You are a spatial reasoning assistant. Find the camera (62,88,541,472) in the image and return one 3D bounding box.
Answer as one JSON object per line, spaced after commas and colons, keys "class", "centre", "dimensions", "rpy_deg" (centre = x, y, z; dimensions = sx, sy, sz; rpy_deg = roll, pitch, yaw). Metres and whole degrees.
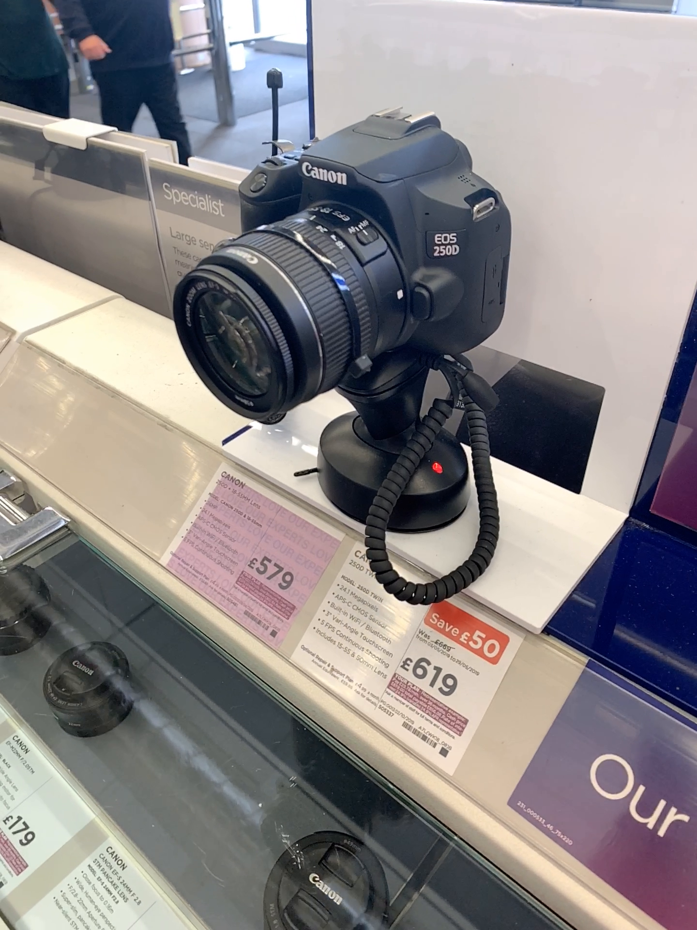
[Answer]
{"class": "camera", "centre": [-0.013, -0.090, 0.301], "dimensions": [0.120, 0.089, 0.141], "rpy_deg": [26, 45, 30]}
